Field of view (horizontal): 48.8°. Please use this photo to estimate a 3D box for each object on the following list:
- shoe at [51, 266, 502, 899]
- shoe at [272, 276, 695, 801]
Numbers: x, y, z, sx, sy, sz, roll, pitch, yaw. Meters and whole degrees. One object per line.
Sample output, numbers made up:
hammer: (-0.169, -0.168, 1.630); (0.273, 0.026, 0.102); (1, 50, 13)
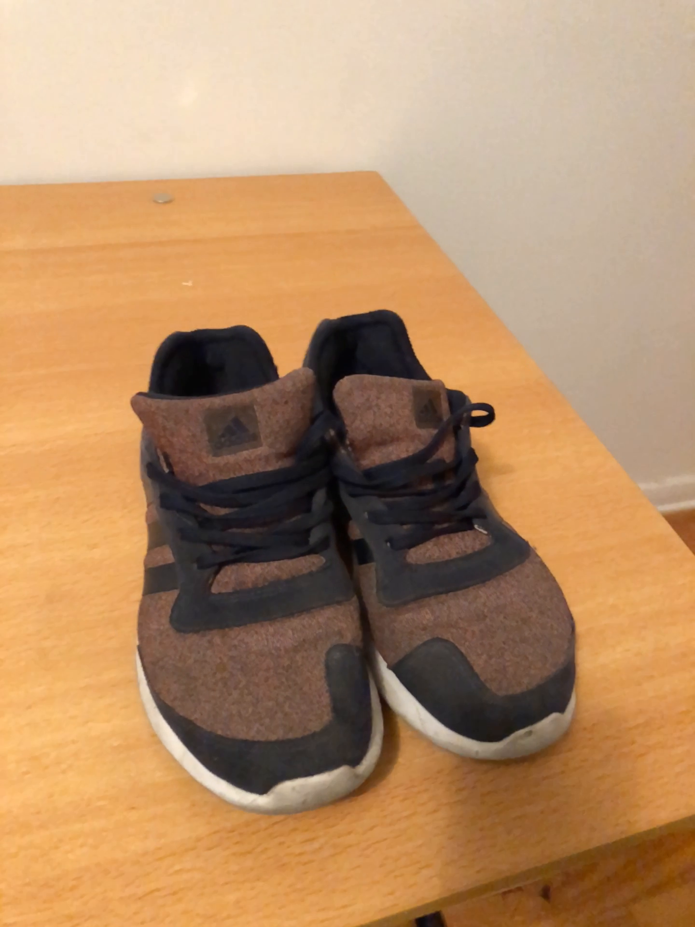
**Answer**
shoe: (-0.063, 0.021, 0.393); (0.130, 0.099, 0.312); (-10, 43, -18)
shoe: (0.050, 0.013, 0.400); (0.110, 0.099, 0.262); (-10, 43, -18)
